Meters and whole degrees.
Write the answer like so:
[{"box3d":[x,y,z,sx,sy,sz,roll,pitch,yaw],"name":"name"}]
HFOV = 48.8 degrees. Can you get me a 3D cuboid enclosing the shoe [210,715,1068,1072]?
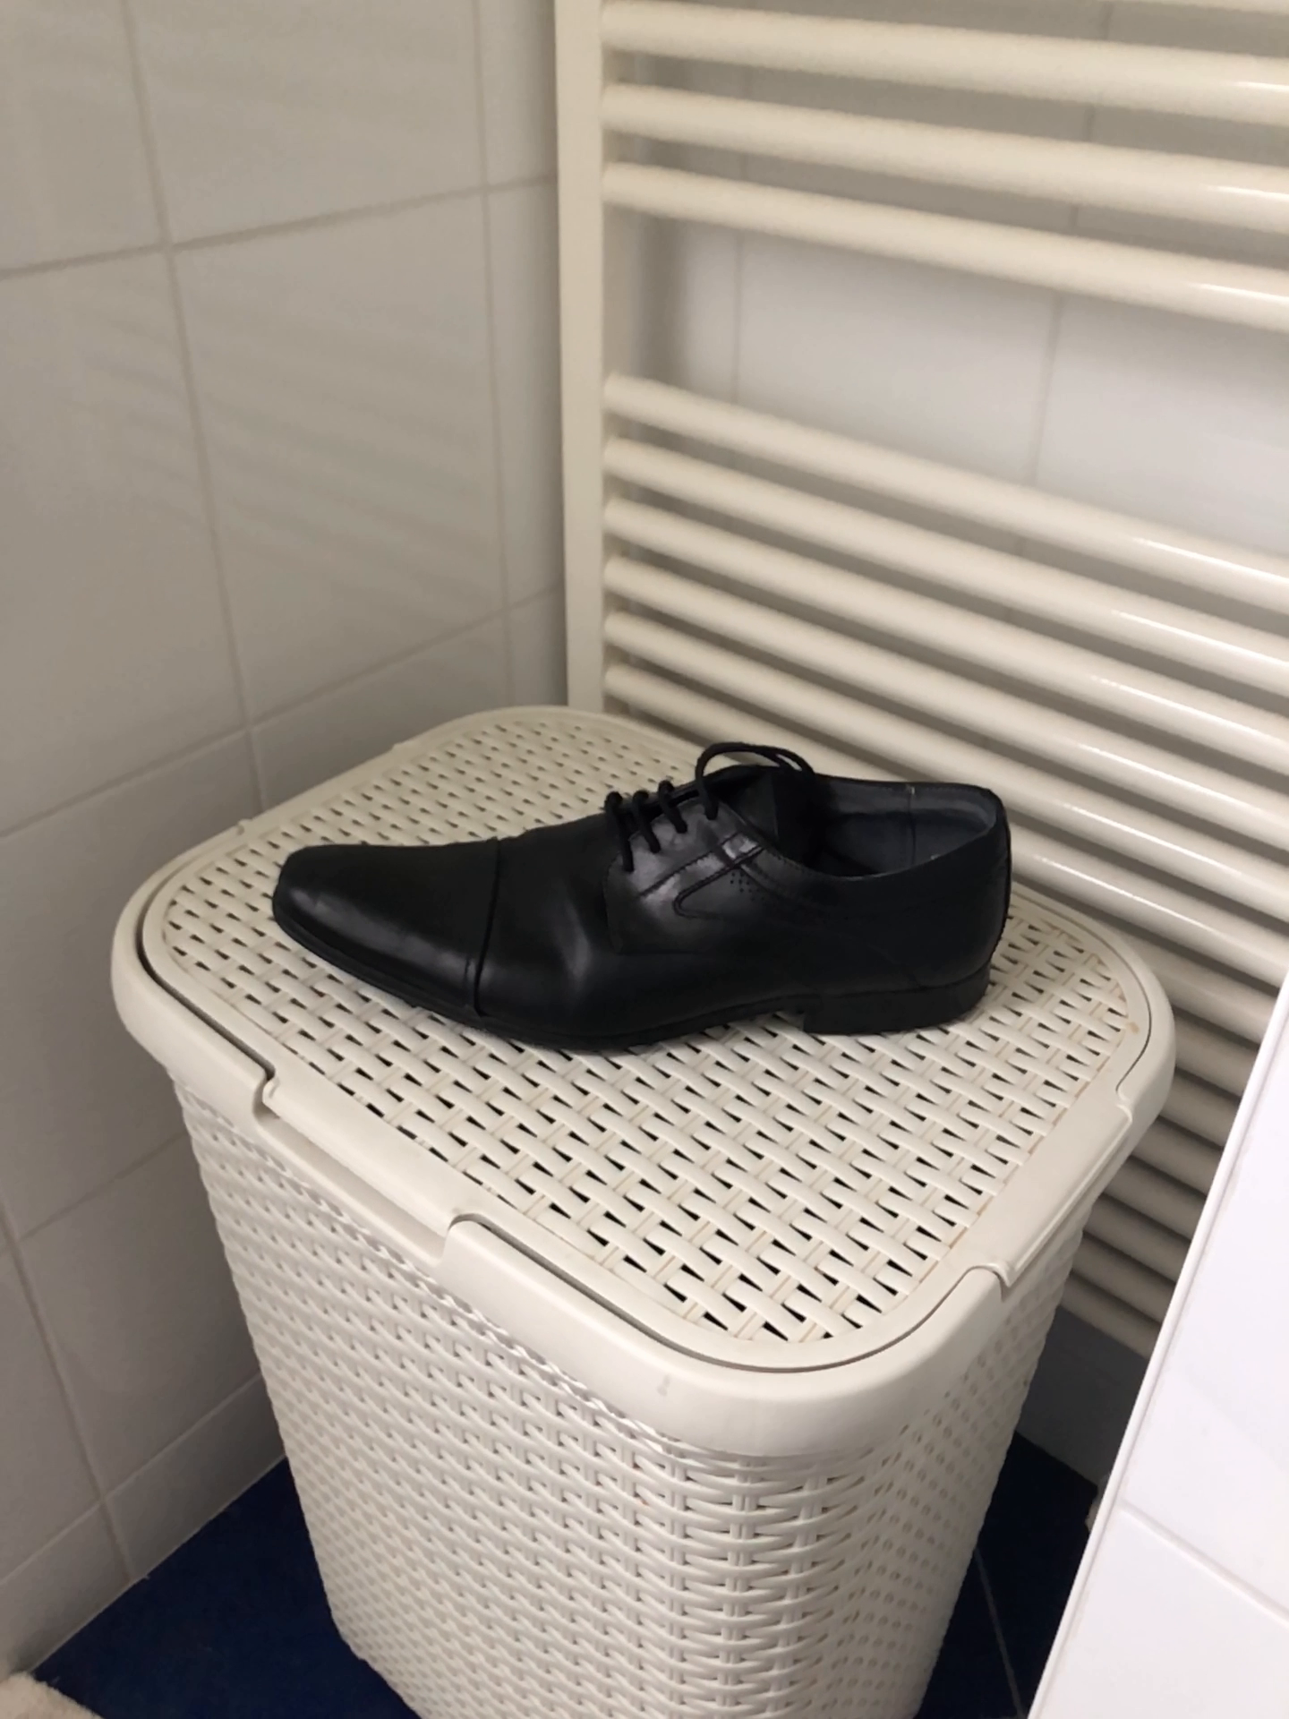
[{"box3d":[-0.002,0.011,0.587,0.310,0.099,0.111,0,35,-2],"name":"shoe"}]
